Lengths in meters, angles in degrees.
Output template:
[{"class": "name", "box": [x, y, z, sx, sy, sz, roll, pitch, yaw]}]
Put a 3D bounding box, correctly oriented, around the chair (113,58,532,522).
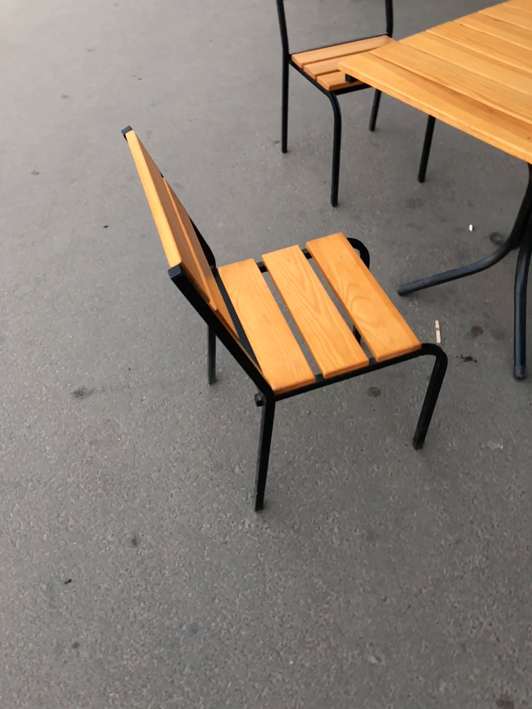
[{"class": "chair", "box": [0.082, -0.116, 1.153, 0.550, 0.638, 0.492, -15, 49, -10]}]
